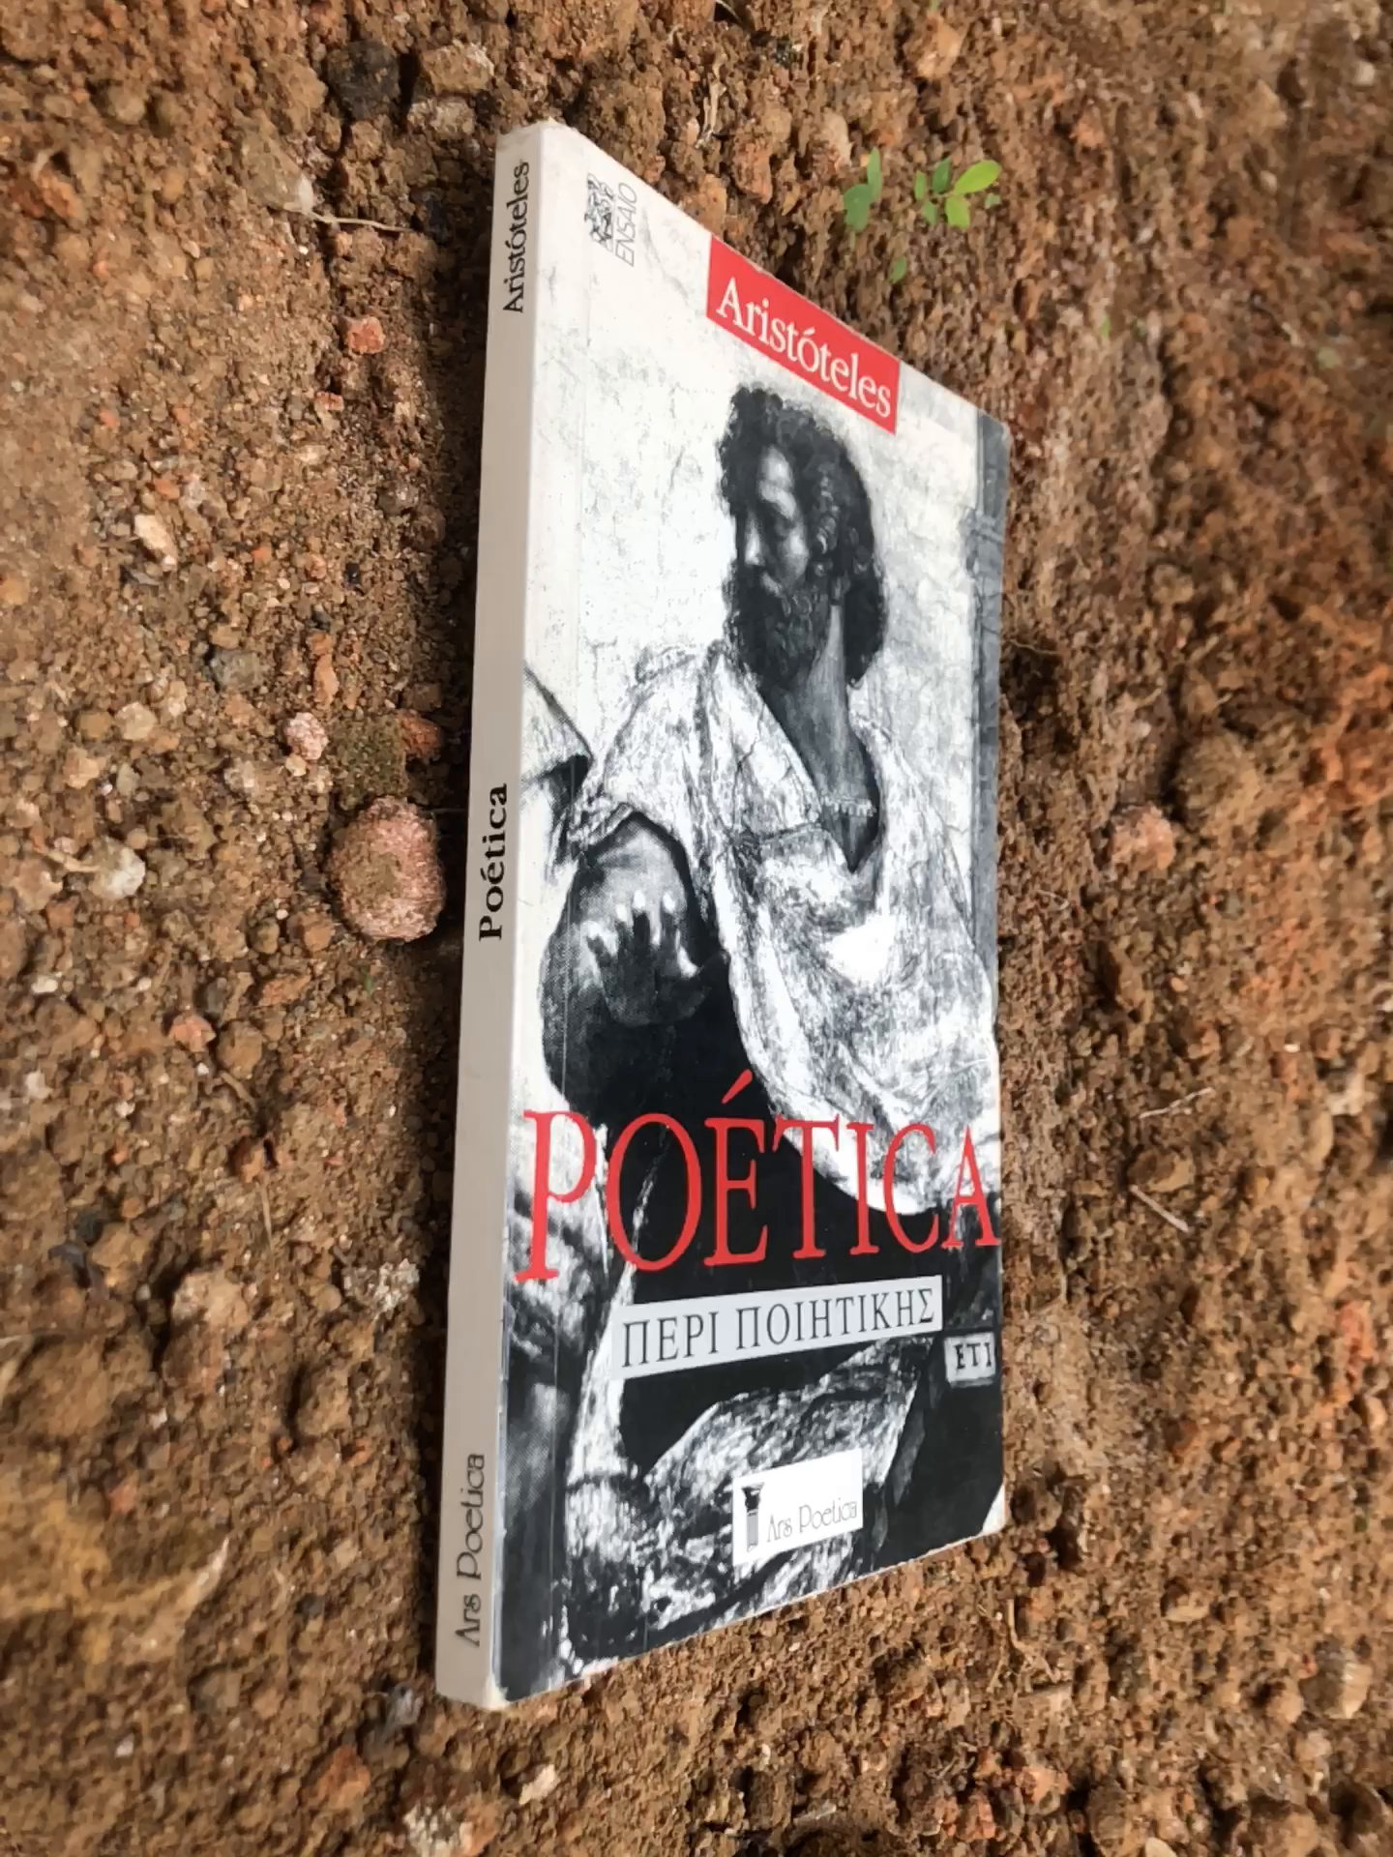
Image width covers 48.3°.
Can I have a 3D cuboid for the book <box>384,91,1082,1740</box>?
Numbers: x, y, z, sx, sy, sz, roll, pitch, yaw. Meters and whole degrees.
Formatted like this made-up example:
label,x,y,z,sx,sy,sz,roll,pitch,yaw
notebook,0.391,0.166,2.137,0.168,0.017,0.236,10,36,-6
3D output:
label,x,y,z,sx,sy,sz,roll,pitch,yaw
book,0.018,0.000,0.229,0.131,0.015,0.189,9,80,-47
